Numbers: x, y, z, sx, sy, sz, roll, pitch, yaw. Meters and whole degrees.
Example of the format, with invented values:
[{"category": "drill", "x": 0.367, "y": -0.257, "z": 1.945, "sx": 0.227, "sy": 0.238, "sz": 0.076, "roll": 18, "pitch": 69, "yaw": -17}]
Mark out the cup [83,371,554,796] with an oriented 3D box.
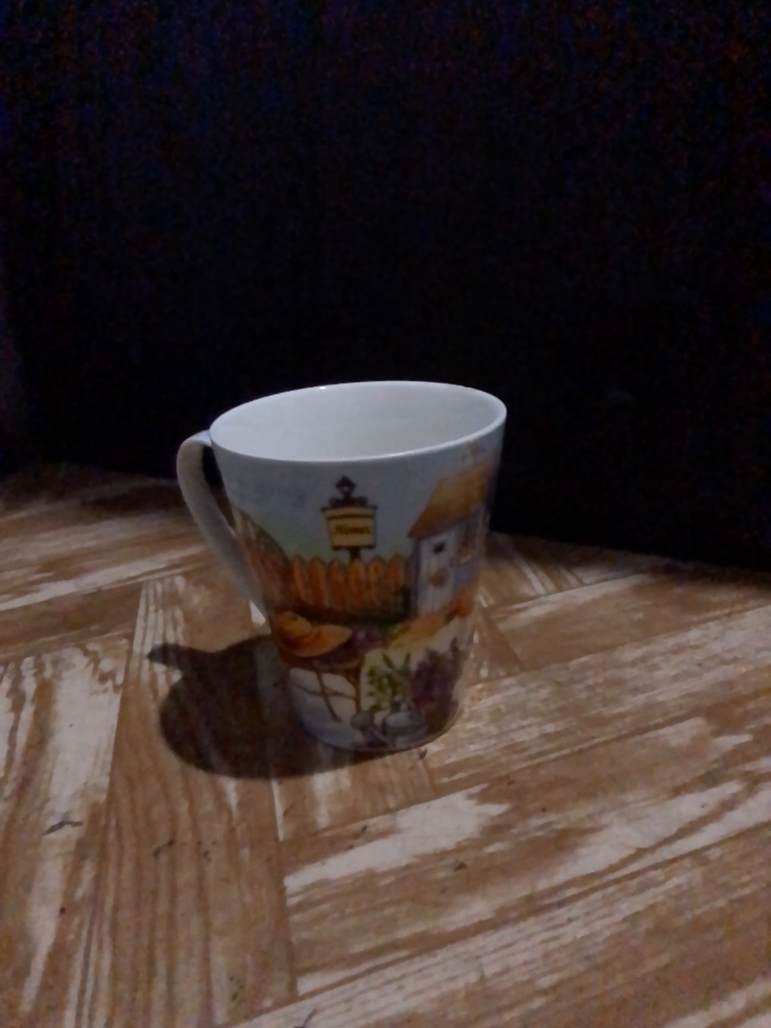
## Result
[{"category": "cup", "x": -0.013, "y": 0.011, "z": 0.261, "sx": 0.111, "sy": 0.090, "sz": 0.080, "roll": 6, "pitch": 24, "yaw": 25}]
